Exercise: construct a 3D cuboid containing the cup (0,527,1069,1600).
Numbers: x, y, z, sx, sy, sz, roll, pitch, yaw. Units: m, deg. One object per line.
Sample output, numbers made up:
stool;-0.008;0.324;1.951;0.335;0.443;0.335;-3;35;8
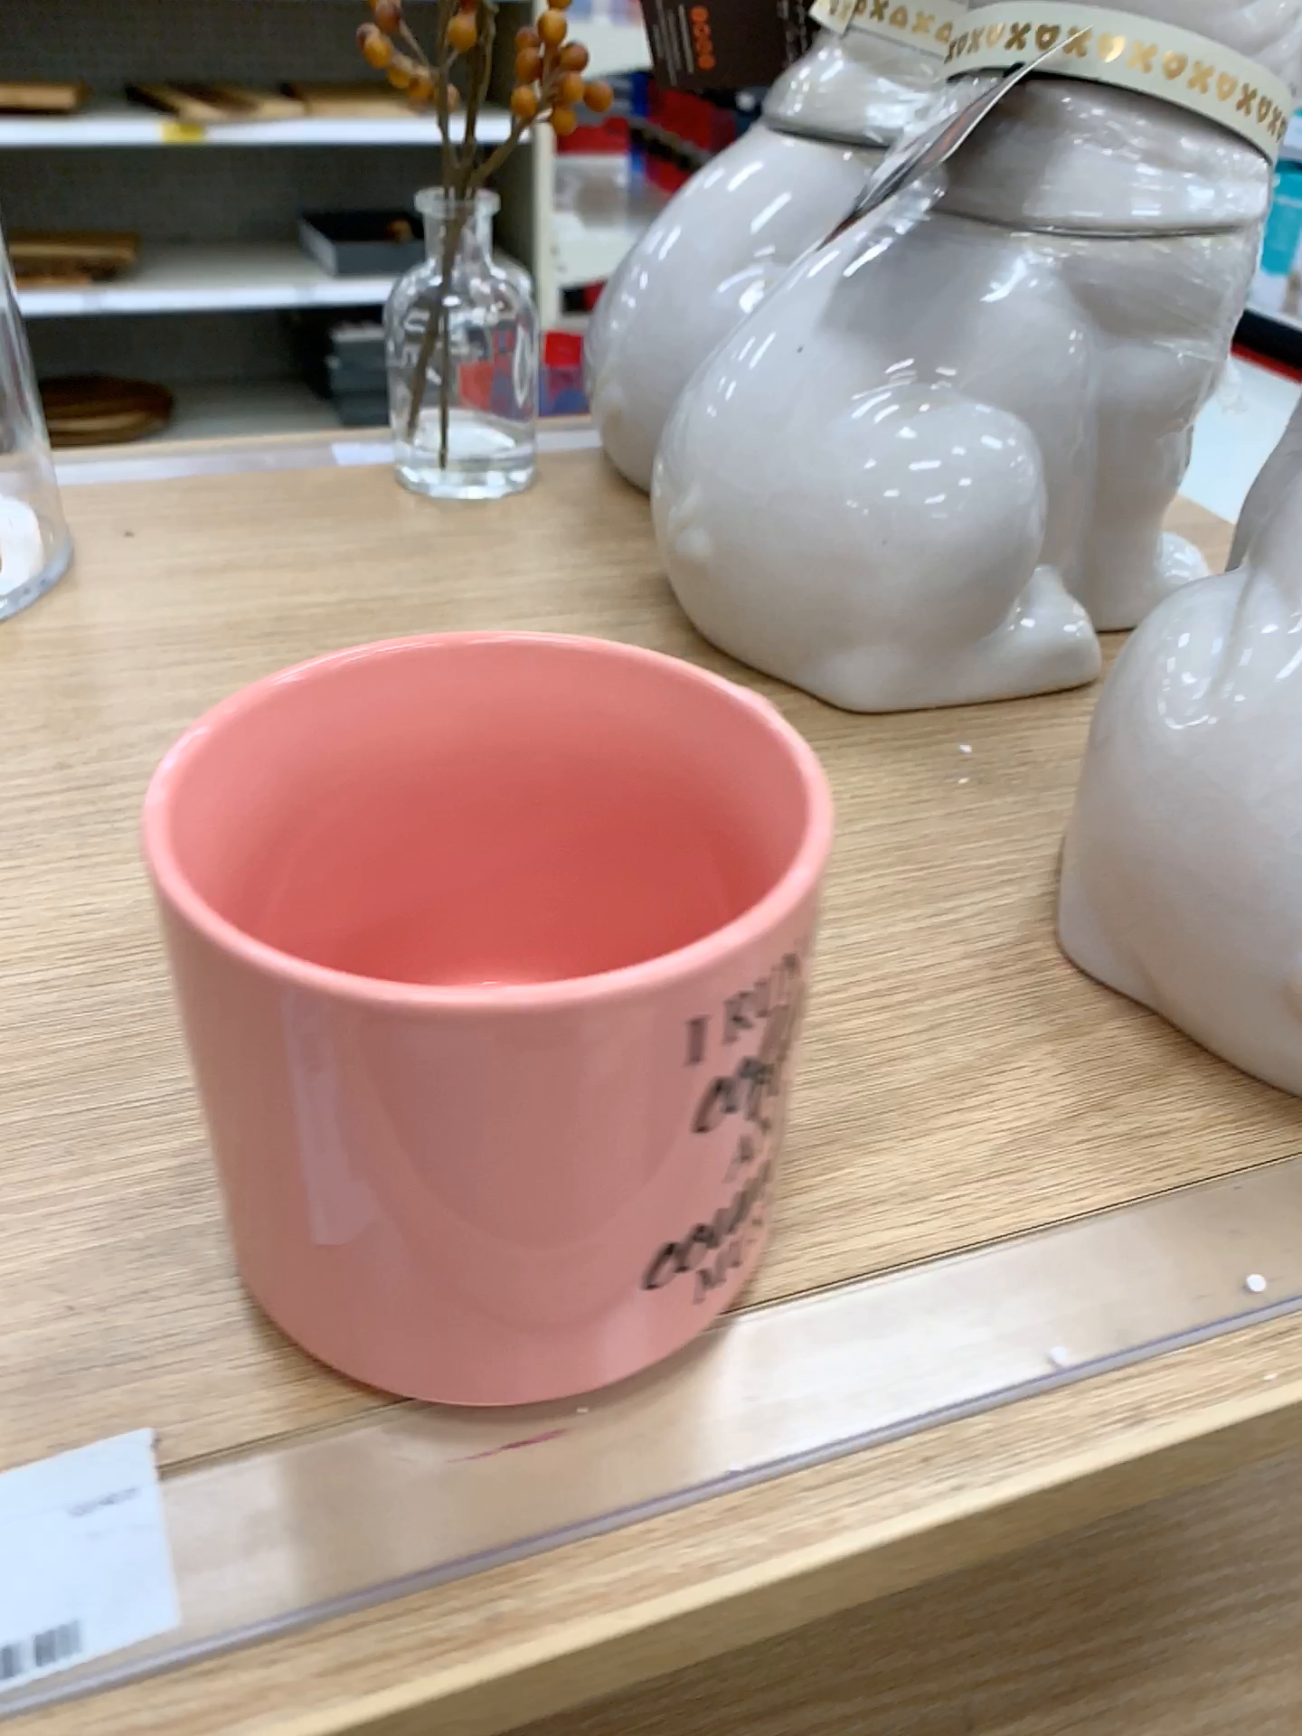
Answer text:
cup;-0.013;0.016;0.228;0.104;0.085;0.133;24;41;27
